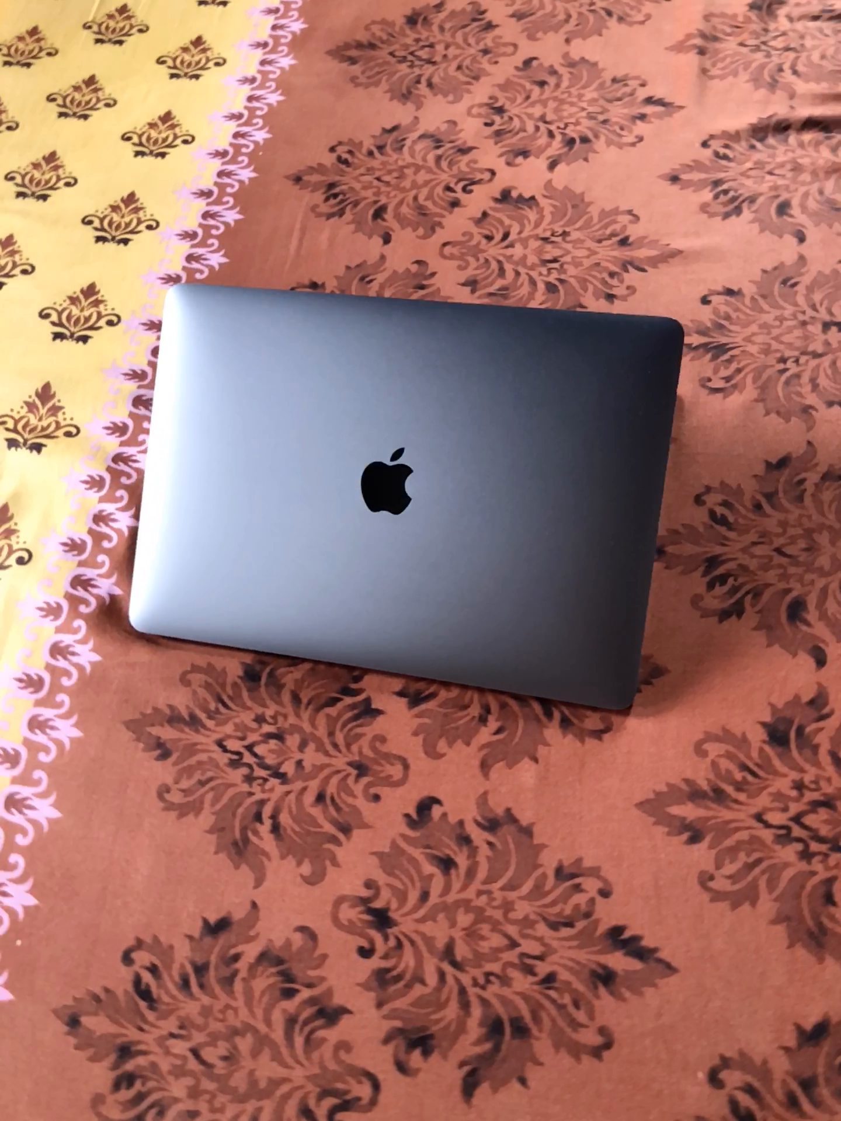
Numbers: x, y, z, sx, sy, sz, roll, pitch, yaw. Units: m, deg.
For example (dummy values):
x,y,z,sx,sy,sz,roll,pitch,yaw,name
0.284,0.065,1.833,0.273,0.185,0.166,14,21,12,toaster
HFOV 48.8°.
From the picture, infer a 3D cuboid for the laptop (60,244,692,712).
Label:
x,y,z,sx,sy,sz,roll,pitch,yaw,name
-0.014,-0.053,0.515,0.286,0.093,0.204,9,67,12,laptop
